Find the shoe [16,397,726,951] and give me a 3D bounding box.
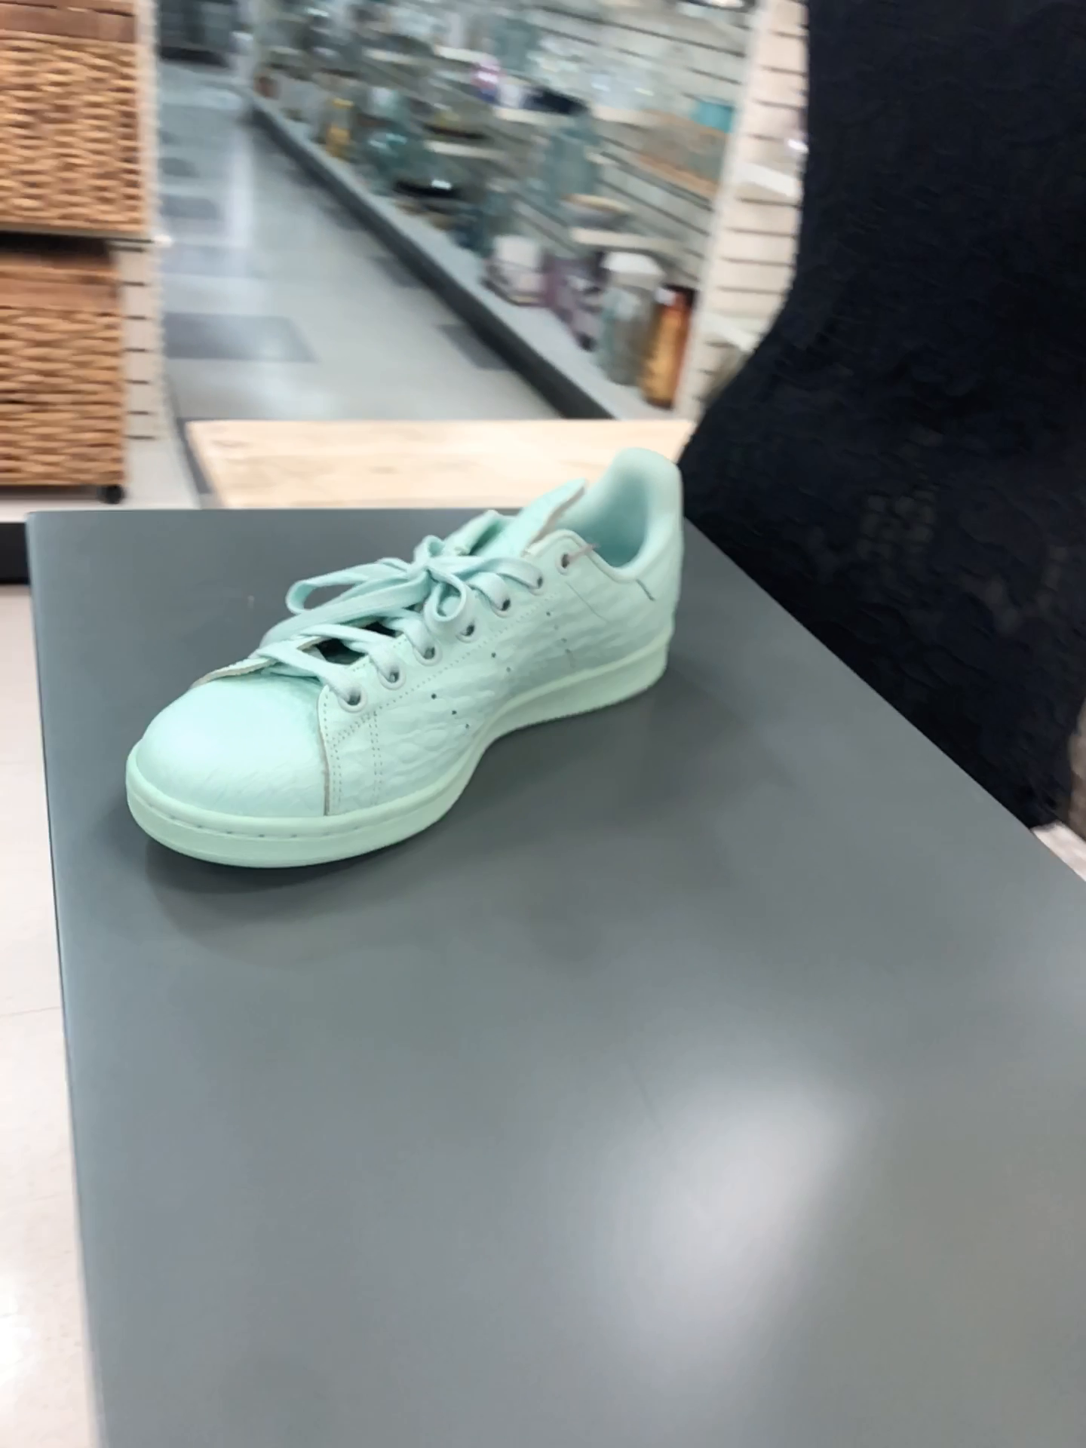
[{"bbox_3d":[-0.052,-0.039,0.464,0.106,0.112,0.253,29,36,29],"label":"shoe"}]
